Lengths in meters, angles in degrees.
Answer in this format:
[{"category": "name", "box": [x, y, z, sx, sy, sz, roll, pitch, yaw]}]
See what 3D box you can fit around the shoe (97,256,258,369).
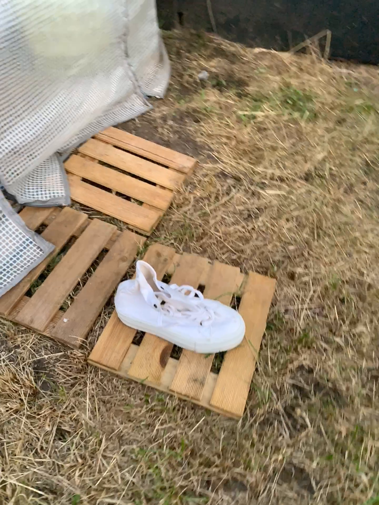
[{"category": "shoe", "box": [-0.019, 0.107, 0.708, 0.260, 0.109, 0.101, 13, 52, 13]}]
